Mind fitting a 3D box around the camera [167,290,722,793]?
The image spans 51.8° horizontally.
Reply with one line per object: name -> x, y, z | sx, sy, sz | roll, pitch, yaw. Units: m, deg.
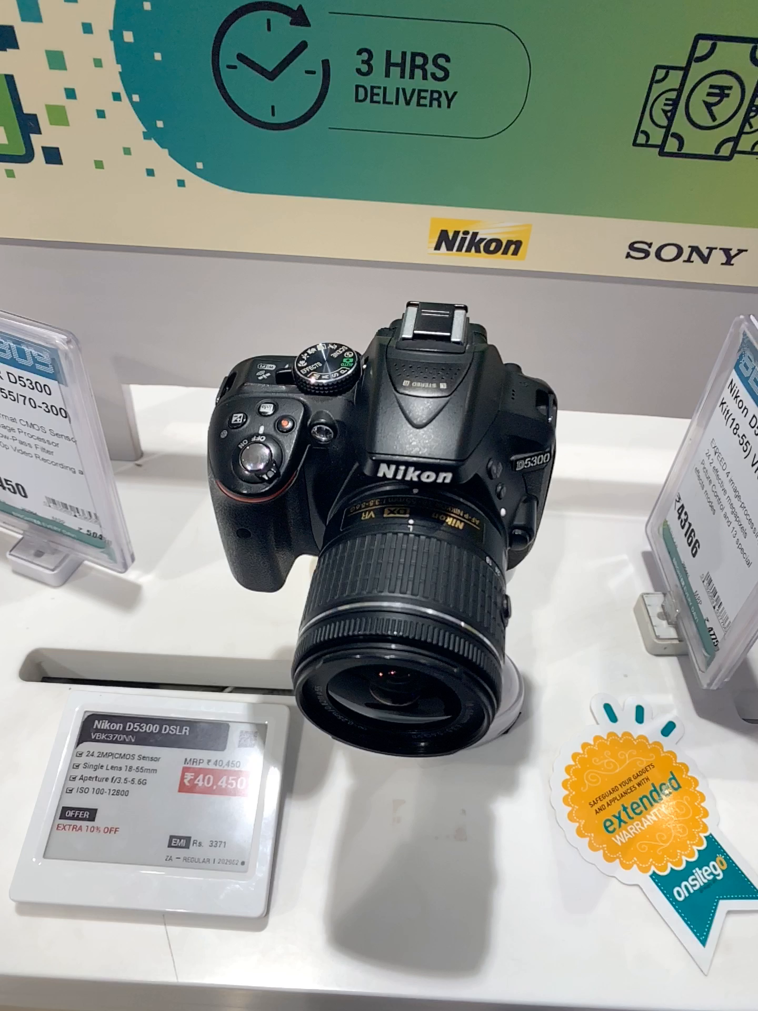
camera -> 0.014, 0.007, 0.238 | 0.118, 0.082, 0.123 | 3, 45, -1
